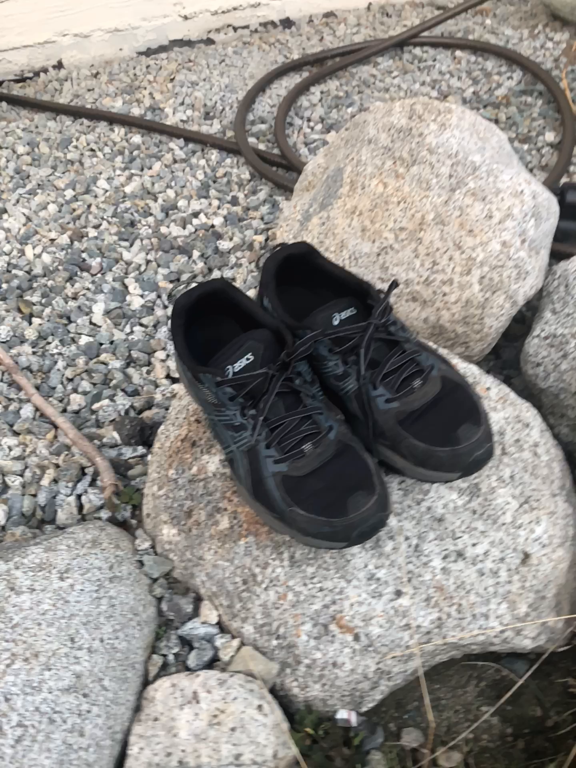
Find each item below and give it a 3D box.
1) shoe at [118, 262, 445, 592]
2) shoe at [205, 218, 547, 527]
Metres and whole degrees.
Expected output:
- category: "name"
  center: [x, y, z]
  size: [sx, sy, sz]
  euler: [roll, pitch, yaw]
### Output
- category: "shoe"
  center: [-0.017, 0.019, 0.549]
  size: [0.120, 0.099, 0.281]
  euler: [-32, 51, -23]
- category: "shoe"
  center: [0.062, -0.029, 0.571]
  size: [0.120, 0.099, 0.291]
  euler: [-32, 51, -23]
